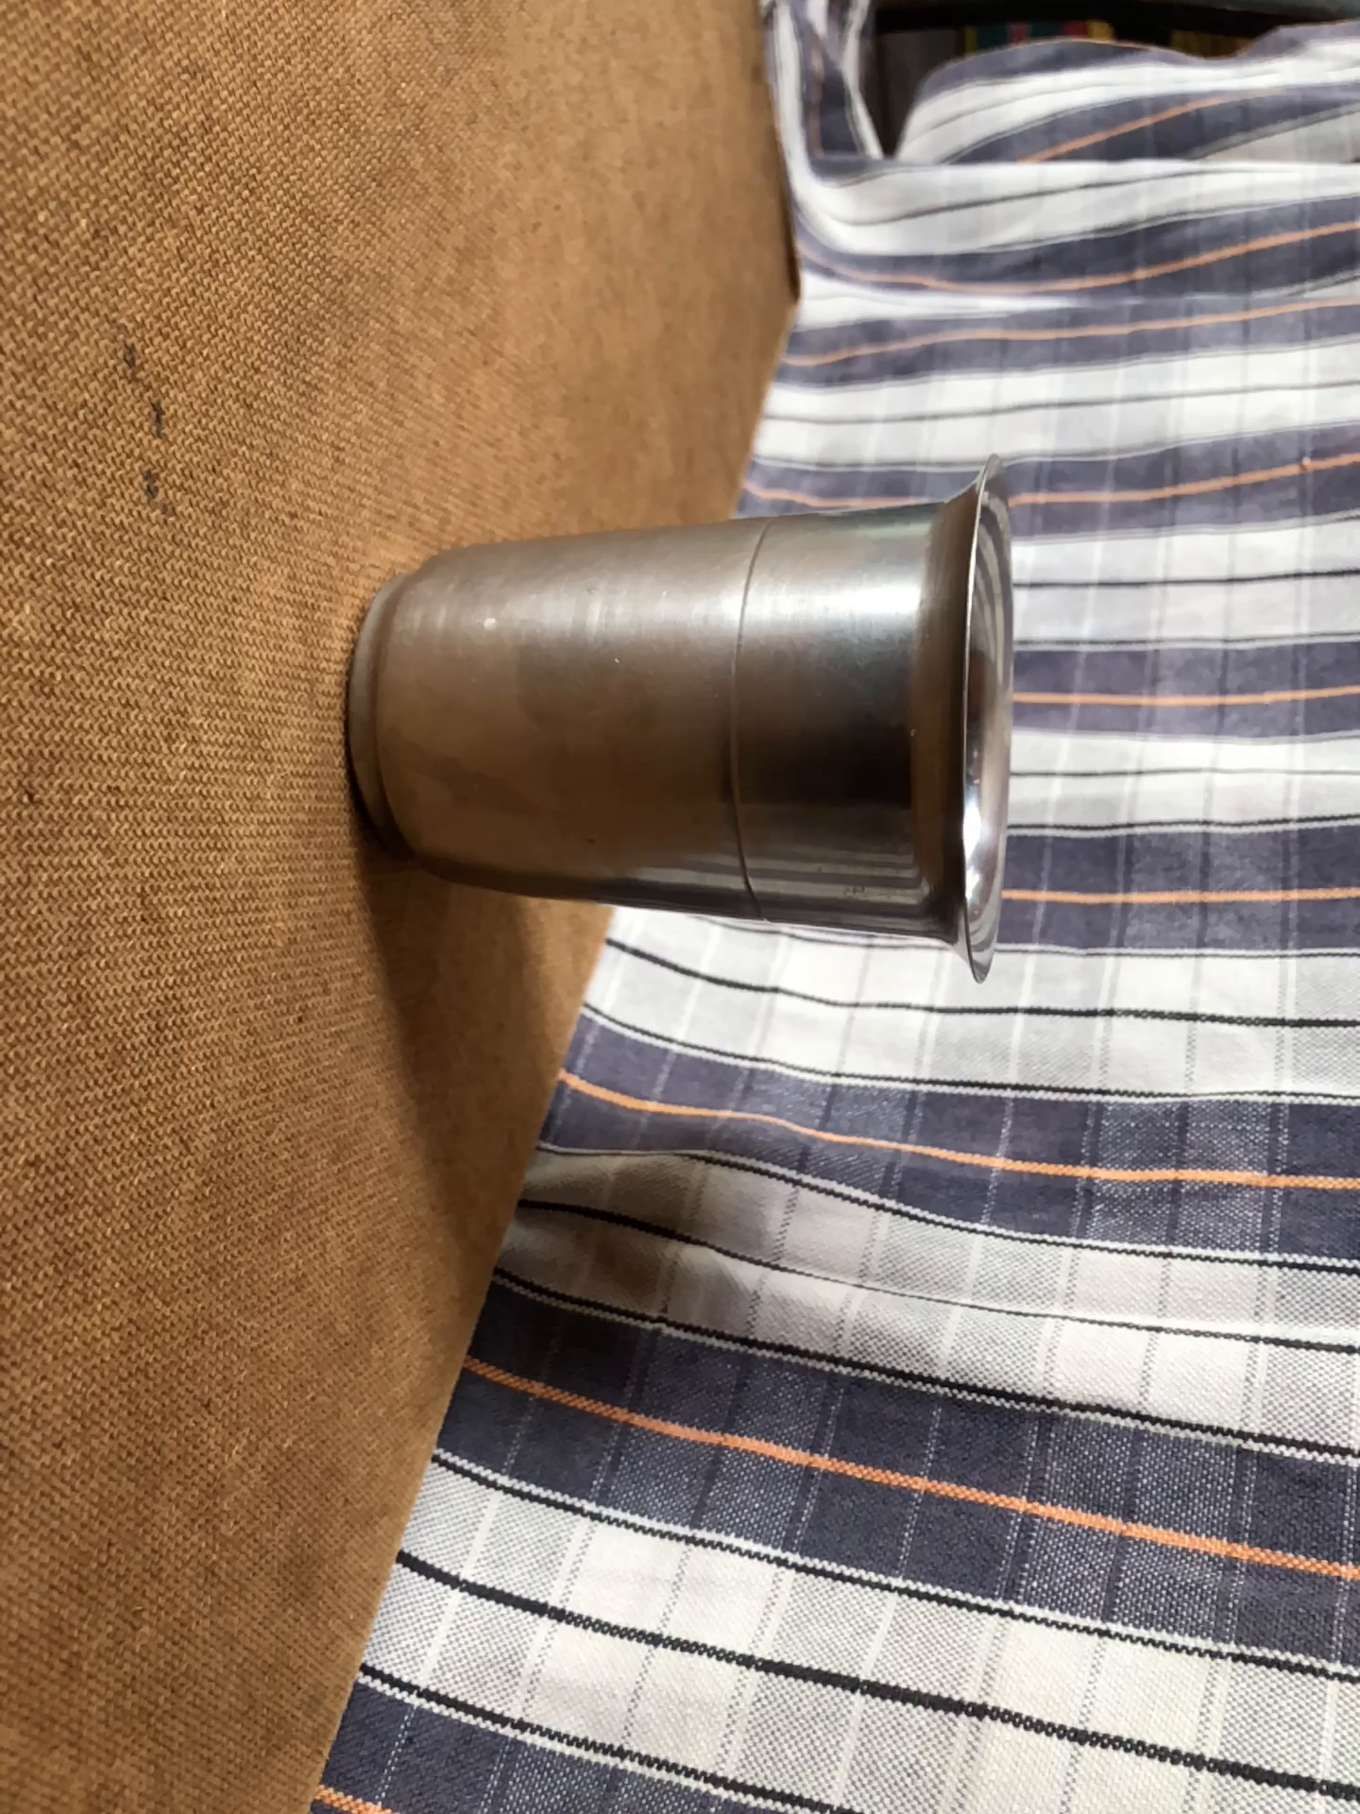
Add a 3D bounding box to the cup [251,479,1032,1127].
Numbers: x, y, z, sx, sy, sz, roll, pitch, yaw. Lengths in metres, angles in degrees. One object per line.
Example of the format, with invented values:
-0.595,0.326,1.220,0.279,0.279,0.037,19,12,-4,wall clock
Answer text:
0.002,-0.023,0.245,0.080,0.100,0.080,2,90,-75,cup
